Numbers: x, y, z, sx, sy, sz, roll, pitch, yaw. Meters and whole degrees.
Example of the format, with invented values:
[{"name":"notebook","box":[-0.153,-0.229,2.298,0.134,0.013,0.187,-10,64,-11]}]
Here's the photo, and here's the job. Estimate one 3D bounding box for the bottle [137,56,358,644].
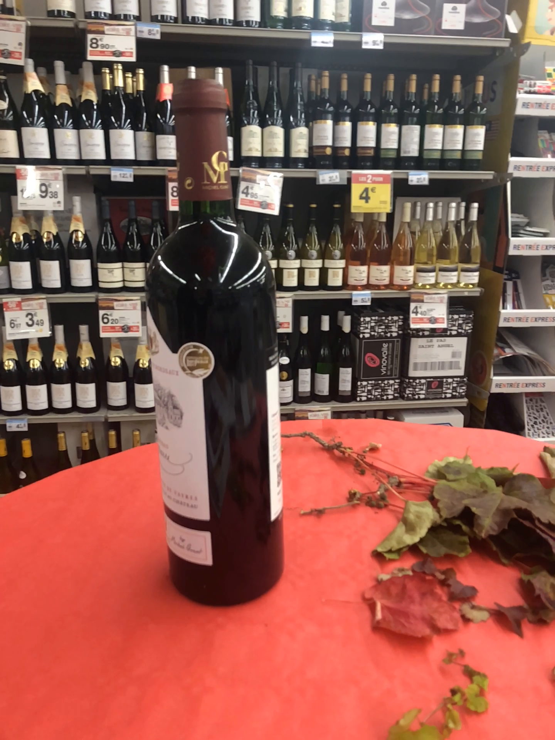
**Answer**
[{"name":"bottle","box":[-0.022,-0.006,0.352,0.090,0.299,0.090,1,17,0]}]
